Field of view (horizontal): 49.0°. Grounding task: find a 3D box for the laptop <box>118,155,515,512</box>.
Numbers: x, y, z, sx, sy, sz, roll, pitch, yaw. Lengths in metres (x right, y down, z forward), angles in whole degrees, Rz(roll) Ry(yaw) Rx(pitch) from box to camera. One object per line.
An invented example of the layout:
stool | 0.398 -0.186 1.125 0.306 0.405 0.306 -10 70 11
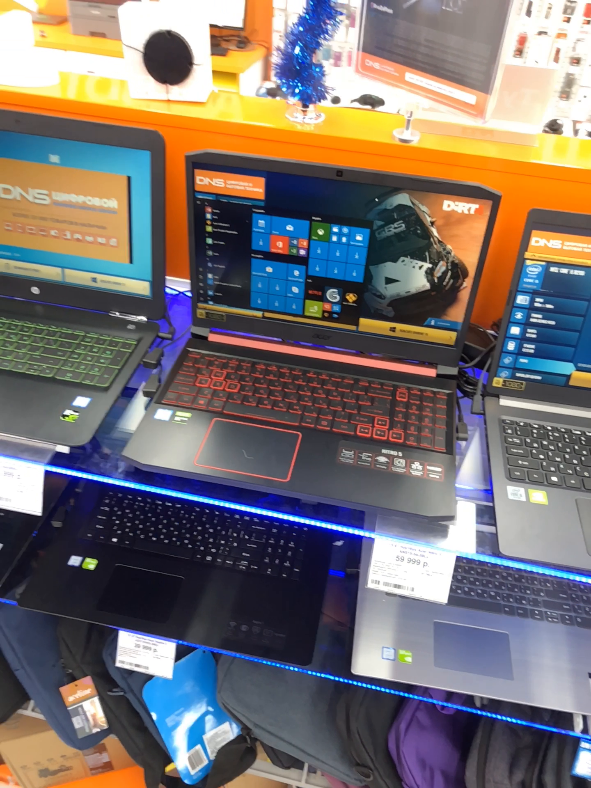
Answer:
laptop | 0.028 -0.076 0.696 0.329 0.231 0.252 10 40 6
